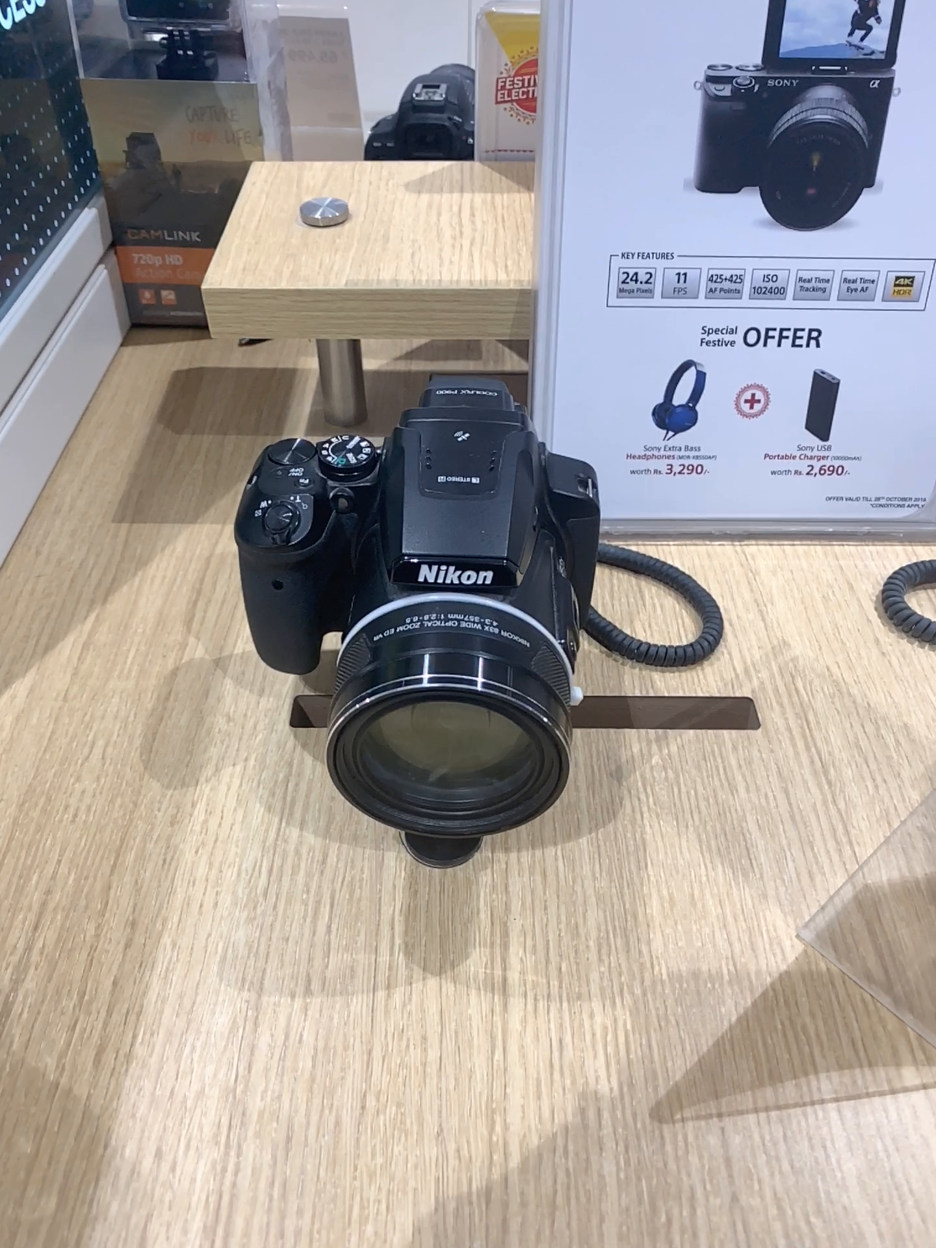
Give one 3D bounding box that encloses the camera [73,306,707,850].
[{"bbox_3d":[-0.017,-0.021,0.297,0.140,0.090,0.151,1,44,0],"label":"camera"}]
